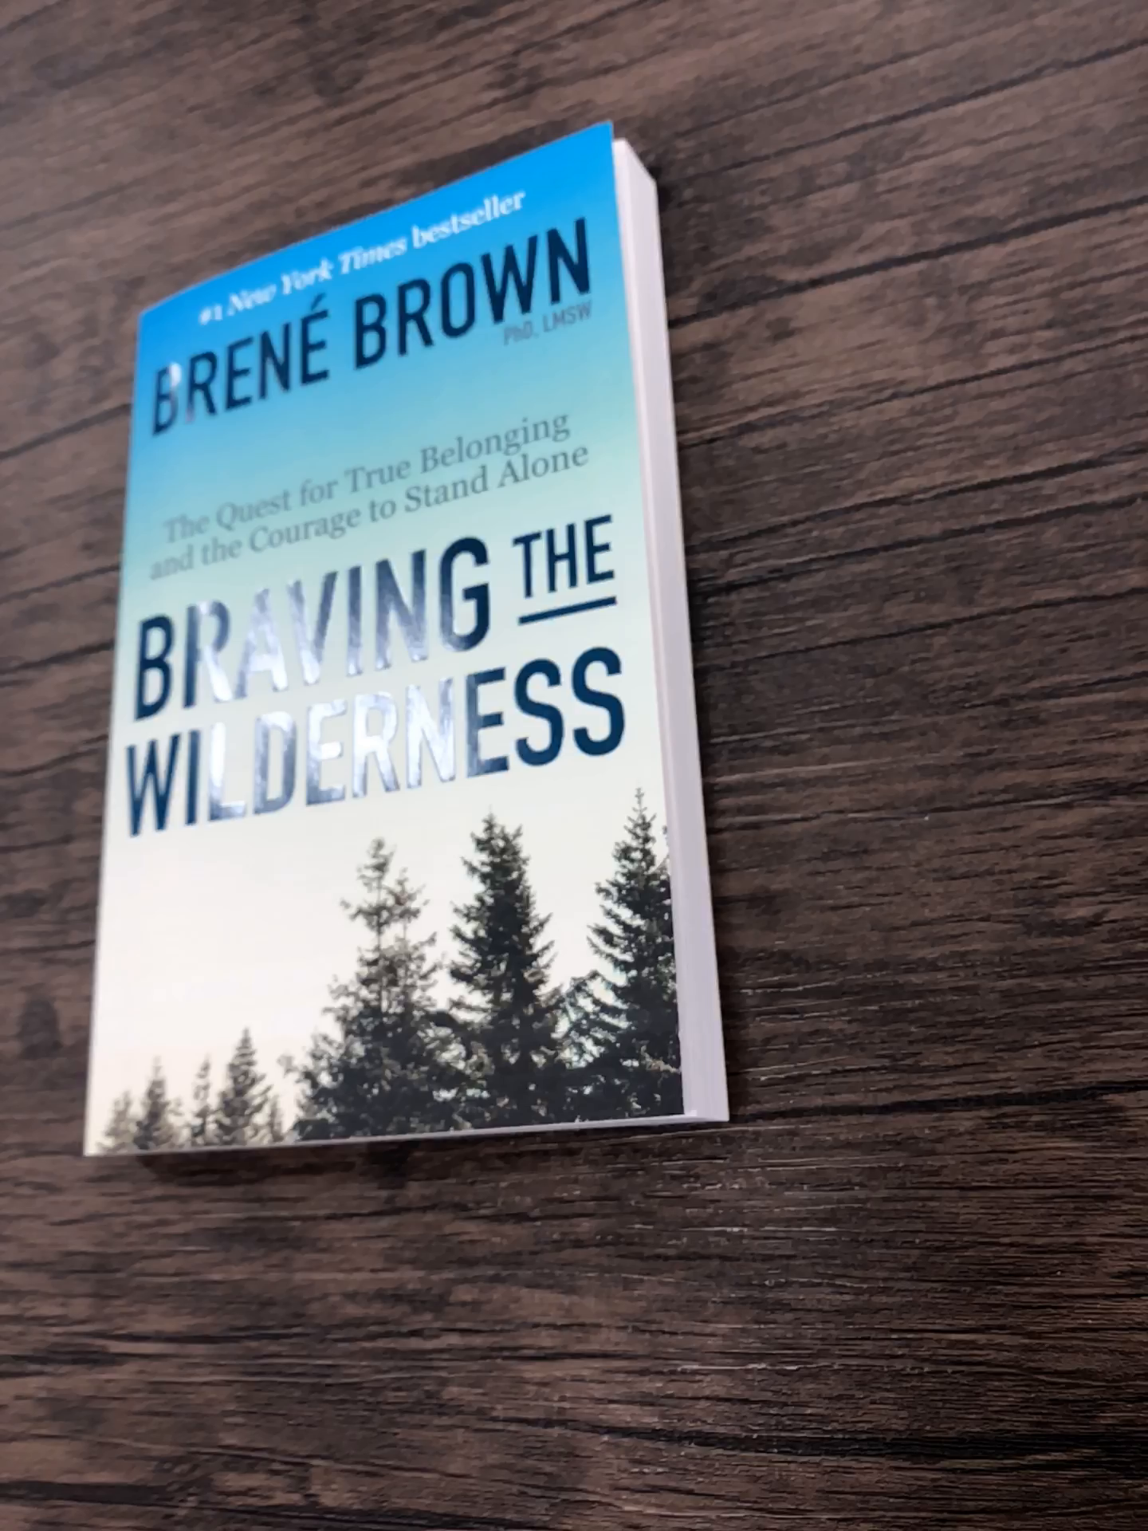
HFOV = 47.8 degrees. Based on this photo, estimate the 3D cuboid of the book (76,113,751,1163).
[{"bbox_3d":[-0.039,-0.023,0.262,0.130,0.021,0.191,-11,72,23],"label":"book"}]
